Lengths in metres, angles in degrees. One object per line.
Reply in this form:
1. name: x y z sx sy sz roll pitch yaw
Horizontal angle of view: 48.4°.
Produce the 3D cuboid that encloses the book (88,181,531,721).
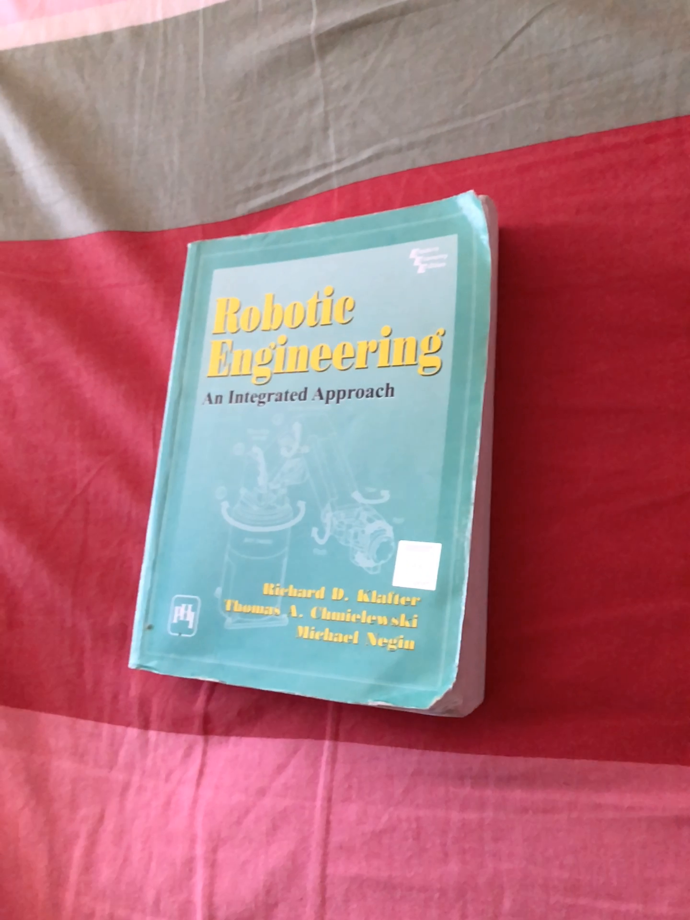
1. book: -0.013 -0.005 0.335 0.172 0.043 0.205 -1 75 25
